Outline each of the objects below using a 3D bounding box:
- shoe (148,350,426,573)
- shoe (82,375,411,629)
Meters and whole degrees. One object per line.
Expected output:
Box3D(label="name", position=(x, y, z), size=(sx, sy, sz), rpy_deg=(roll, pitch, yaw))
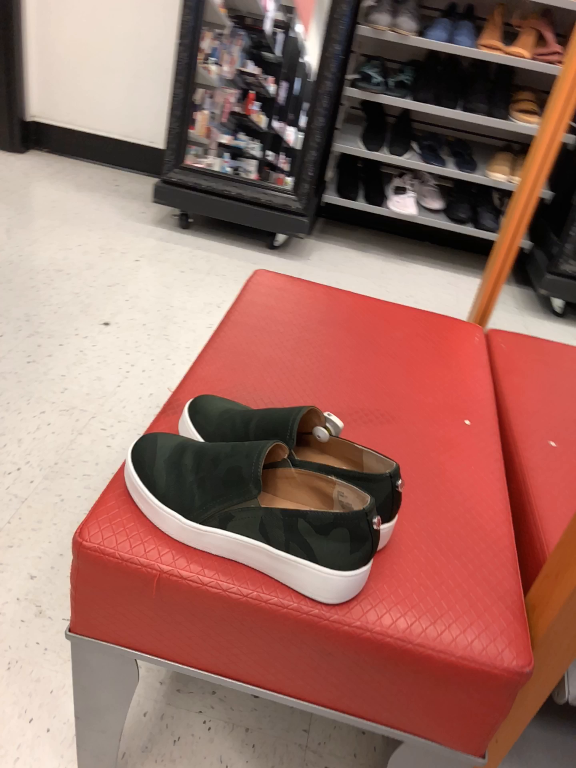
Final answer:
Box3D(label="shoe", position=(-0.011, 0.068, 0.647), size=(0.277, 0.086, 0.077), rpy_deg=(26, 34, 23))
Box3D(label="shoe", position=(-0.042, 0.098, 0.585), size=(0.277, 0.086, 0.106), rpy_deg=(21, 33, 15))
